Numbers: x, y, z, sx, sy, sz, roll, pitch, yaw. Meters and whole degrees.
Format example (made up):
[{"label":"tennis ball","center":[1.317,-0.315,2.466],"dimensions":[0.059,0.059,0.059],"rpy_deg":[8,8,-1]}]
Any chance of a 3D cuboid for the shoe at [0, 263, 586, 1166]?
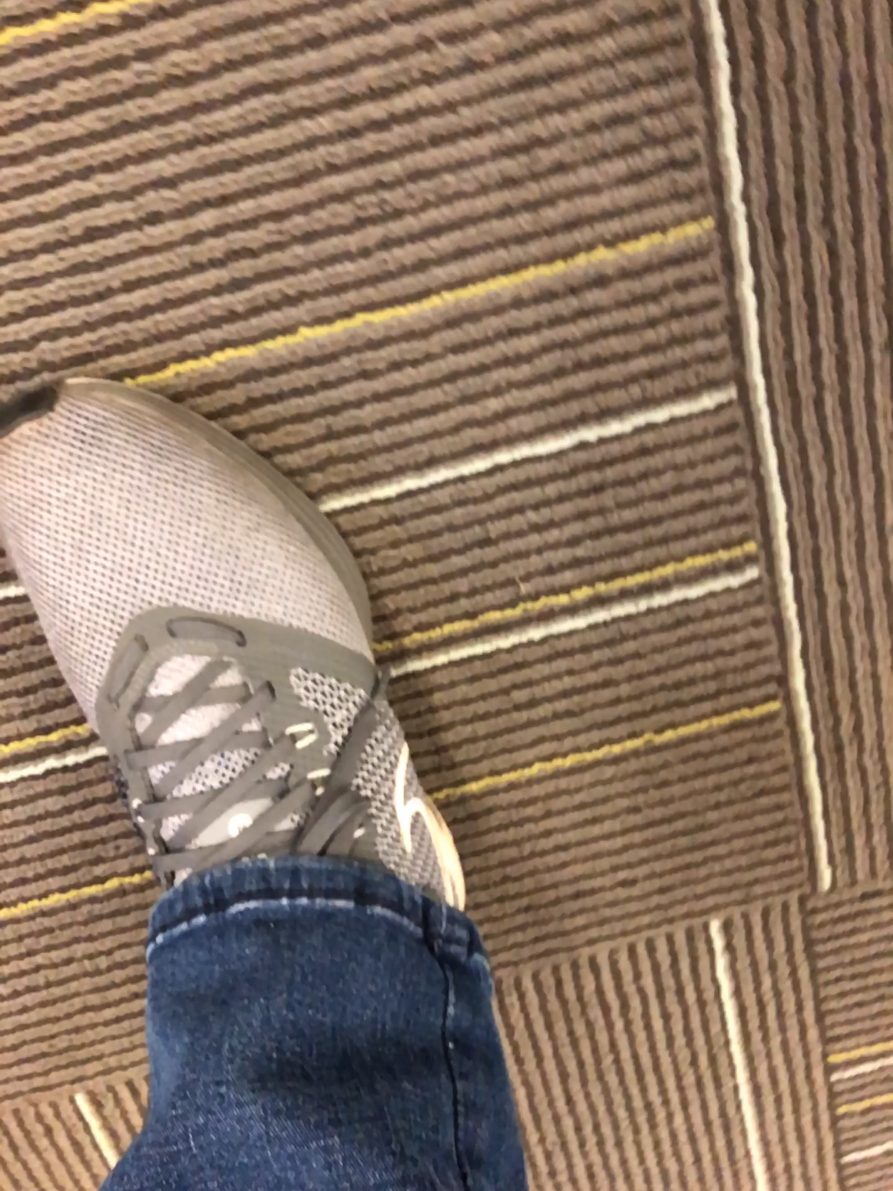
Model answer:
[{"label":"shoe","center":[-0.067,0.051,0.362],"dimensions":[0.120,0.060,0.300],"rpy_deg":[-24,104,5]}]
